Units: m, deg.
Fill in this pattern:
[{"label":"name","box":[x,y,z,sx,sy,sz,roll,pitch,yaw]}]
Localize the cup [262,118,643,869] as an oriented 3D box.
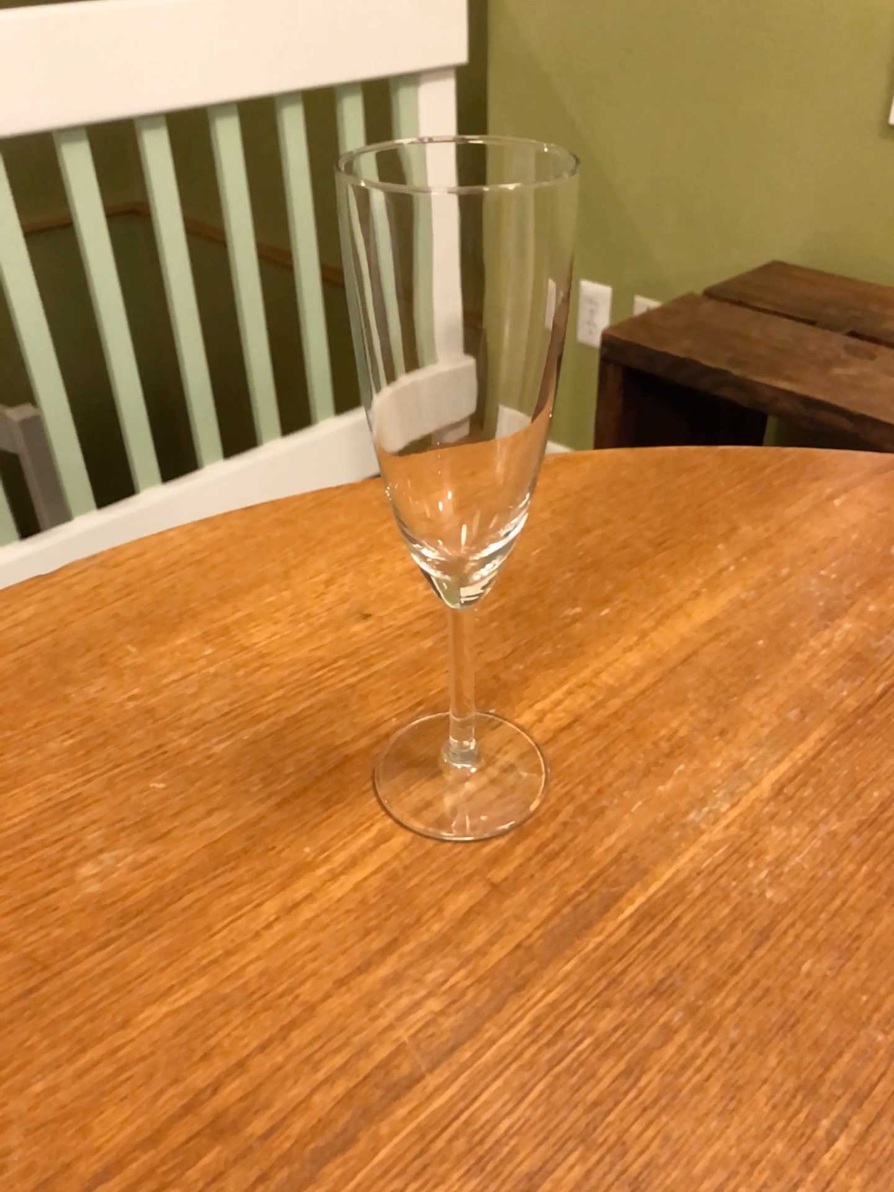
[{"label":"cup","box":[0.005,-0.025,0.312,0.066,0.215,0.074,22,41,30]}]
